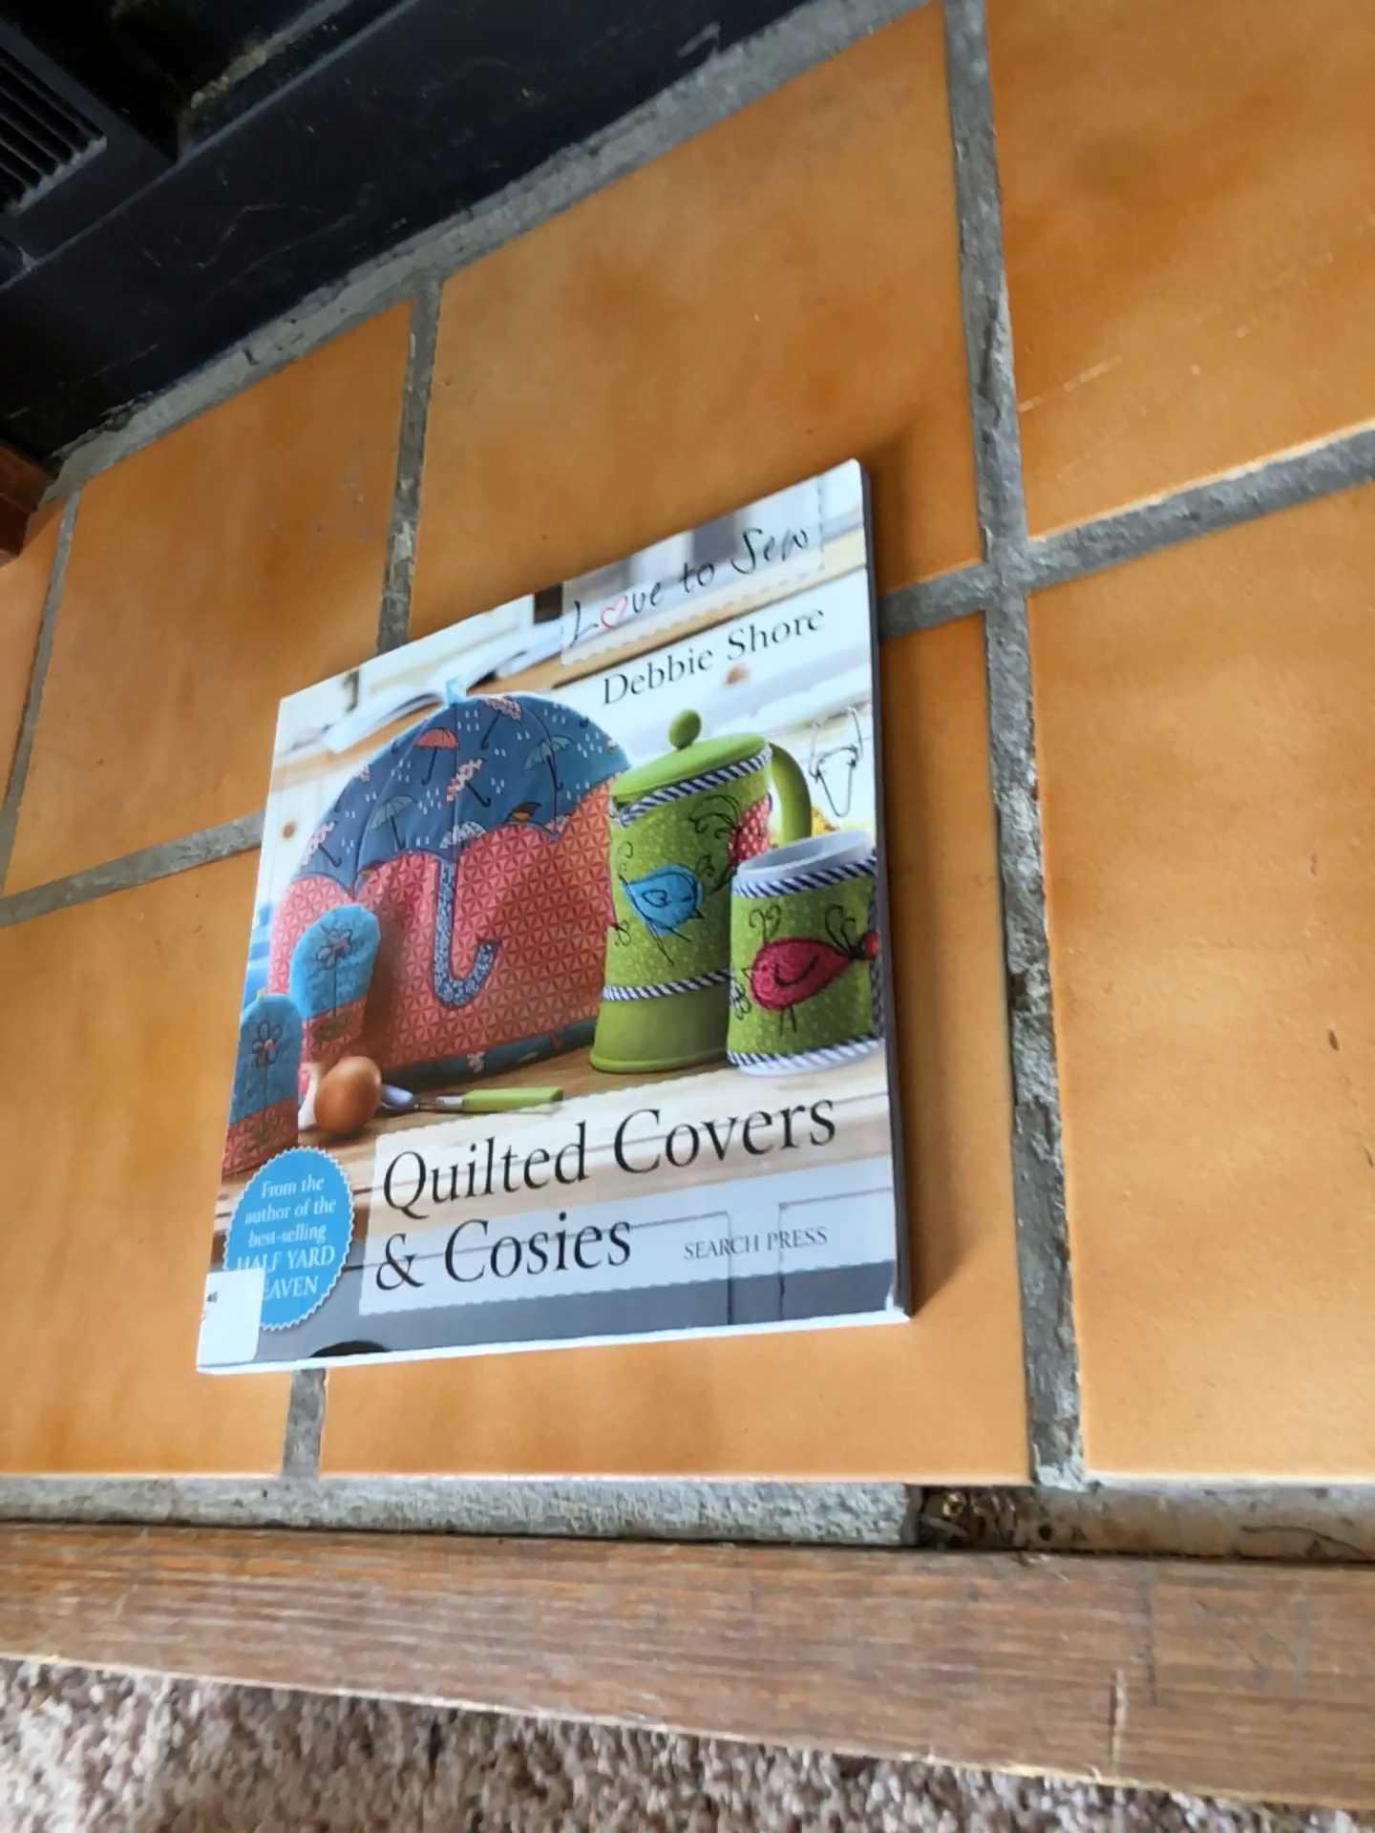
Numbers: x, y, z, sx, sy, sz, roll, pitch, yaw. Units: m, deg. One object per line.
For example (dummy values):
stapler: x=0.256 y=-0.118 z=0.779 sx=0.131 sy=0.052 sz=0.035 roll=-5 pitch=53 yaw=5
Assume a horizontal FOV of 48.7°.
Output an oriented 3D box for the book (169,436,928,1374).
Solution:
book: x=-0.047 y=0.004 z=0.413 sx=0.226 sy=0.015 sz=0.219 roll=-14 pitch=64 yaw=31
